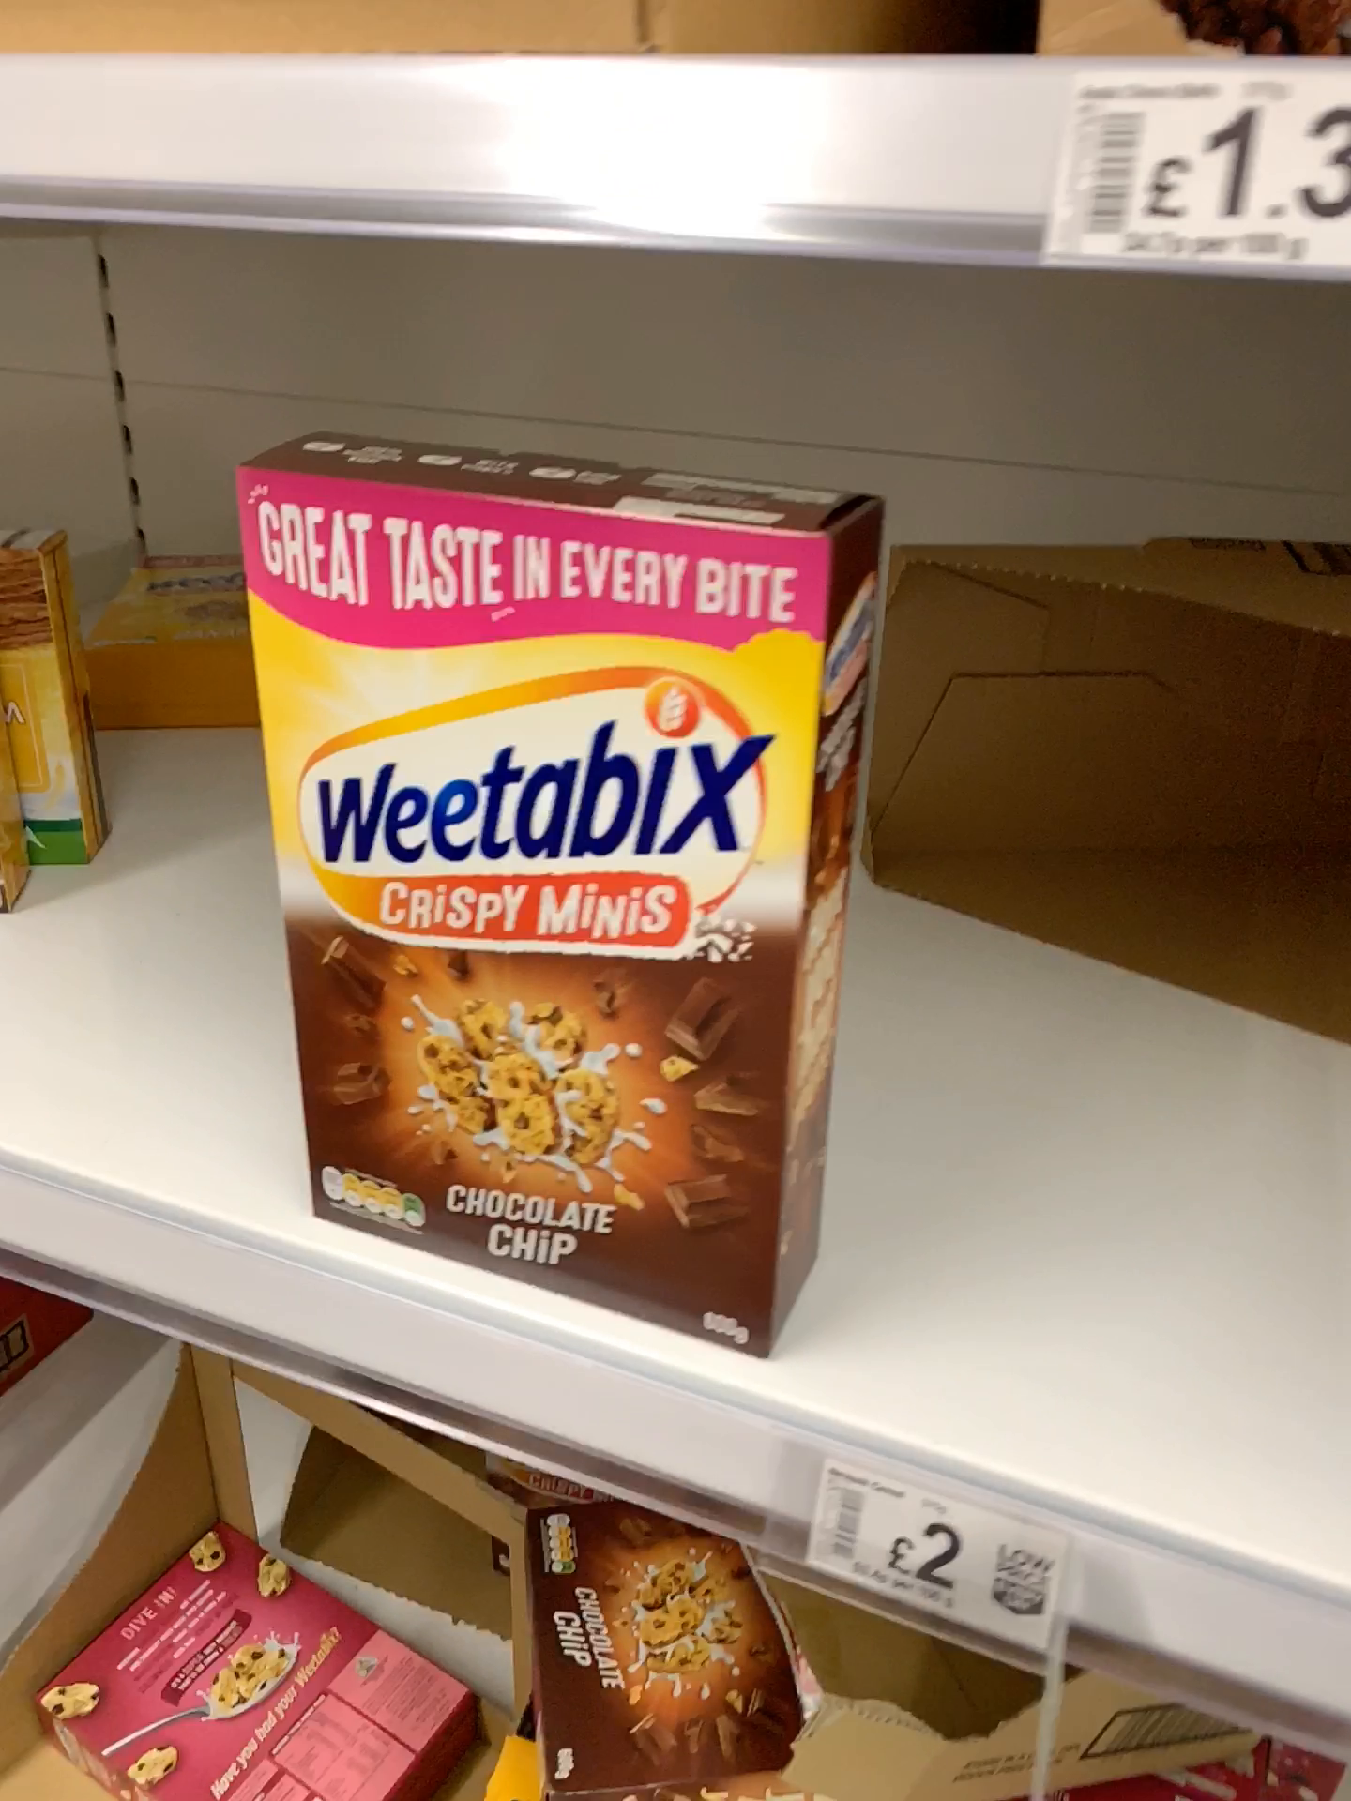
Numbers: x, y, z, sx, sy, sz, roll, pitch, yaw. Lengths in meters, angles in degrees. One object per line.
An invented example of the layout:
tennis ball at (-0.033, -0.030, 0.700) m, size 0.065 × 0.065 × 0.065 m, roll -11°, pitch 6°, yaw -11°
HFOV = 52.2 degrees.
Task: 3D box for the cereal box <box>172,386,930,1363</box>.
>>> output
cereal box at (-0.042, -0.009, 0.463) m, size 0.210 × 0.287 × 0.071 m, roll 12°, pitch 28°, yaw 19°
